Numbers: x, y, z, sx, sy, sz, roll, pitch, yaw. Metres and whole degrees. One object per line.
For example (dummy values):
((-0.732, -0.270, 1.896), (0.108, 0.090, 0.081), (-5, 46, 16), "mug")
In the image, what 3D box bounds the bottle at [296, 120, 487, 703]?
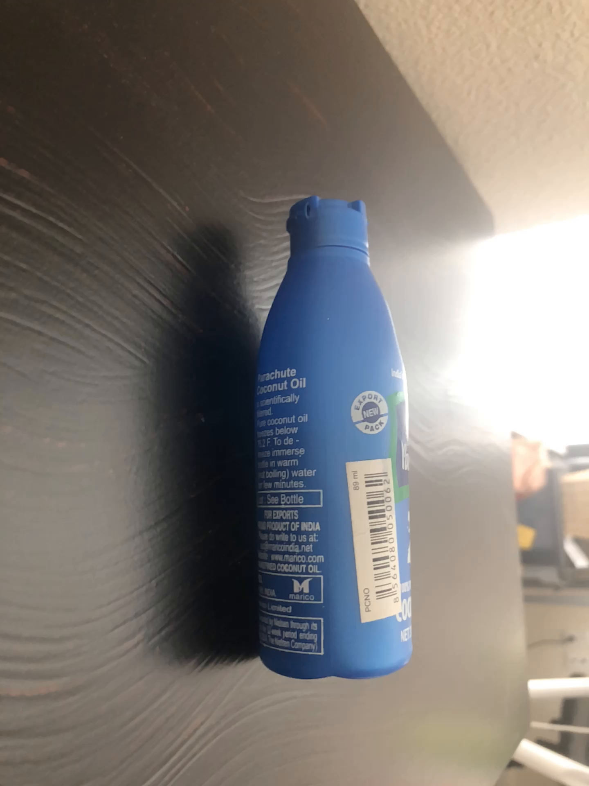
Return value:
((0.022, 0.003, 0.179), (0.040, 0.040, 0.140), (87, 2, -80), "bottle")
